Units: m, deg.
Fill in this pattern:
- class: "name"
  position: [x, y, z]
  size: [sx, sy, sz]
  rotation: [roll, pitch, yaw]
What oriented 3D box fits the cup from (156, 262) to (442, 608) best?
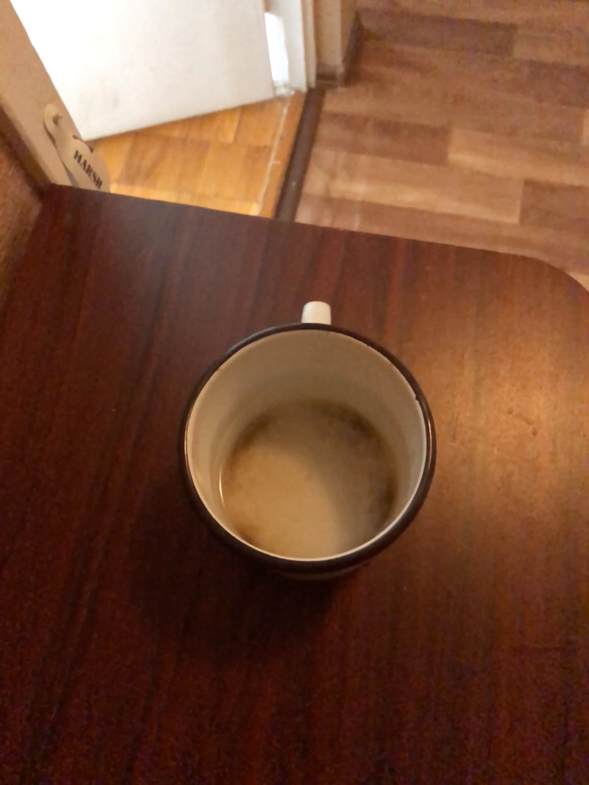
- class: "cup"
  position: [0.011, 0.029, 0.360]
  size: [0.118, 0.114, 0.156]
  rotation: [5, 70, 6]
